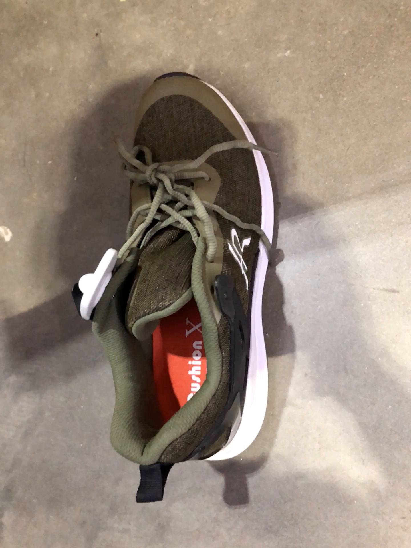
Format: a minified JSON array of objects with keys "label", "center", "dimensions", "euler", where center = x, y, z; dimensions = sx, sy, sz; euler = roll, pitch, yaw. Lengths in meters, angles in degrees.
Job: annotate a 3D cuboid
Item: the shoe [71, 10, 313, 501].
[{"label":"shoe","center":[-0.007,-0.008,0.331],"dimensions":[0.120,0.100,0.290],"euler":[-8,83,19]}]
